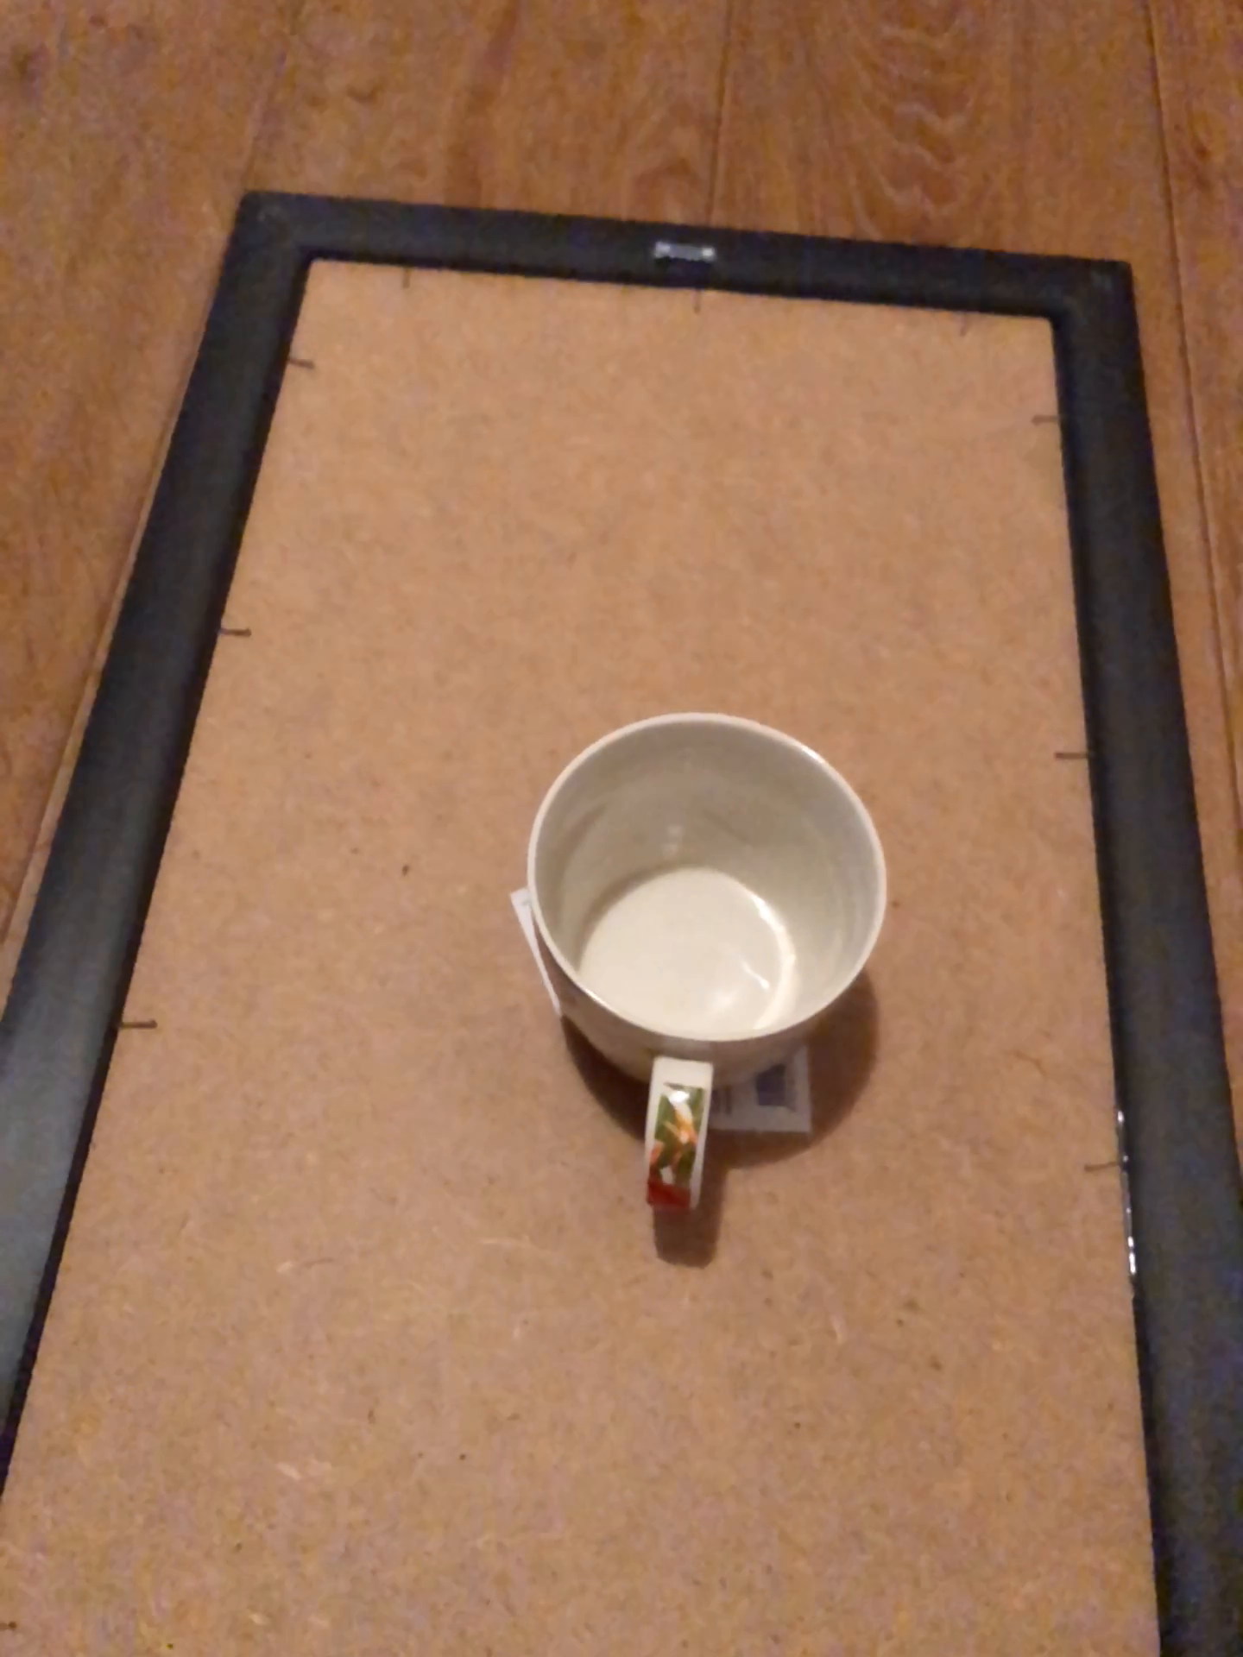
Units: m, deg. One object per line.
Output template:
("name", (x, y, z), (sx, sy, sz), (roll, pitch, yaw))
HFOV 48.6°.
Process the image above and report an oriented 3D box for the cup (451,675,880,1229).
("cup", (0.014, 0.035, 0.375), (0.098, 0.080, 0.122), (5, 63, 1))
